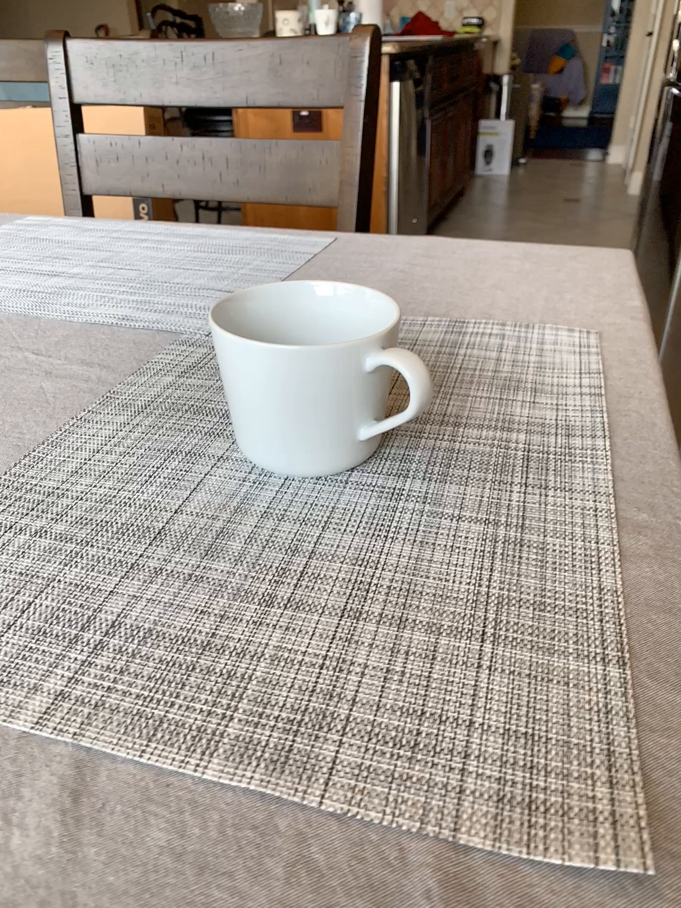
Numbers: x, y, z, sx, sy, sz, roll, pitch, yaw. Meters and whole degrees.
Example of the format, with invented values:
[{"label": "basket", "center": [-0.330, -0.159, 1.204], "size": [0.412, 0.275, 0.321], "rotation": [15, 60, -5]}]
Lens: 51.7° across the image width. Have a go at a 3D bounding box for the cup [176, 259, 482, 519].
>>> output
[{"label": "cup", "center": [-0.006, -0.044, 0.382], "size": [0.121, 0.081, 0.100], "rotation": [23, 38, 35]}]
